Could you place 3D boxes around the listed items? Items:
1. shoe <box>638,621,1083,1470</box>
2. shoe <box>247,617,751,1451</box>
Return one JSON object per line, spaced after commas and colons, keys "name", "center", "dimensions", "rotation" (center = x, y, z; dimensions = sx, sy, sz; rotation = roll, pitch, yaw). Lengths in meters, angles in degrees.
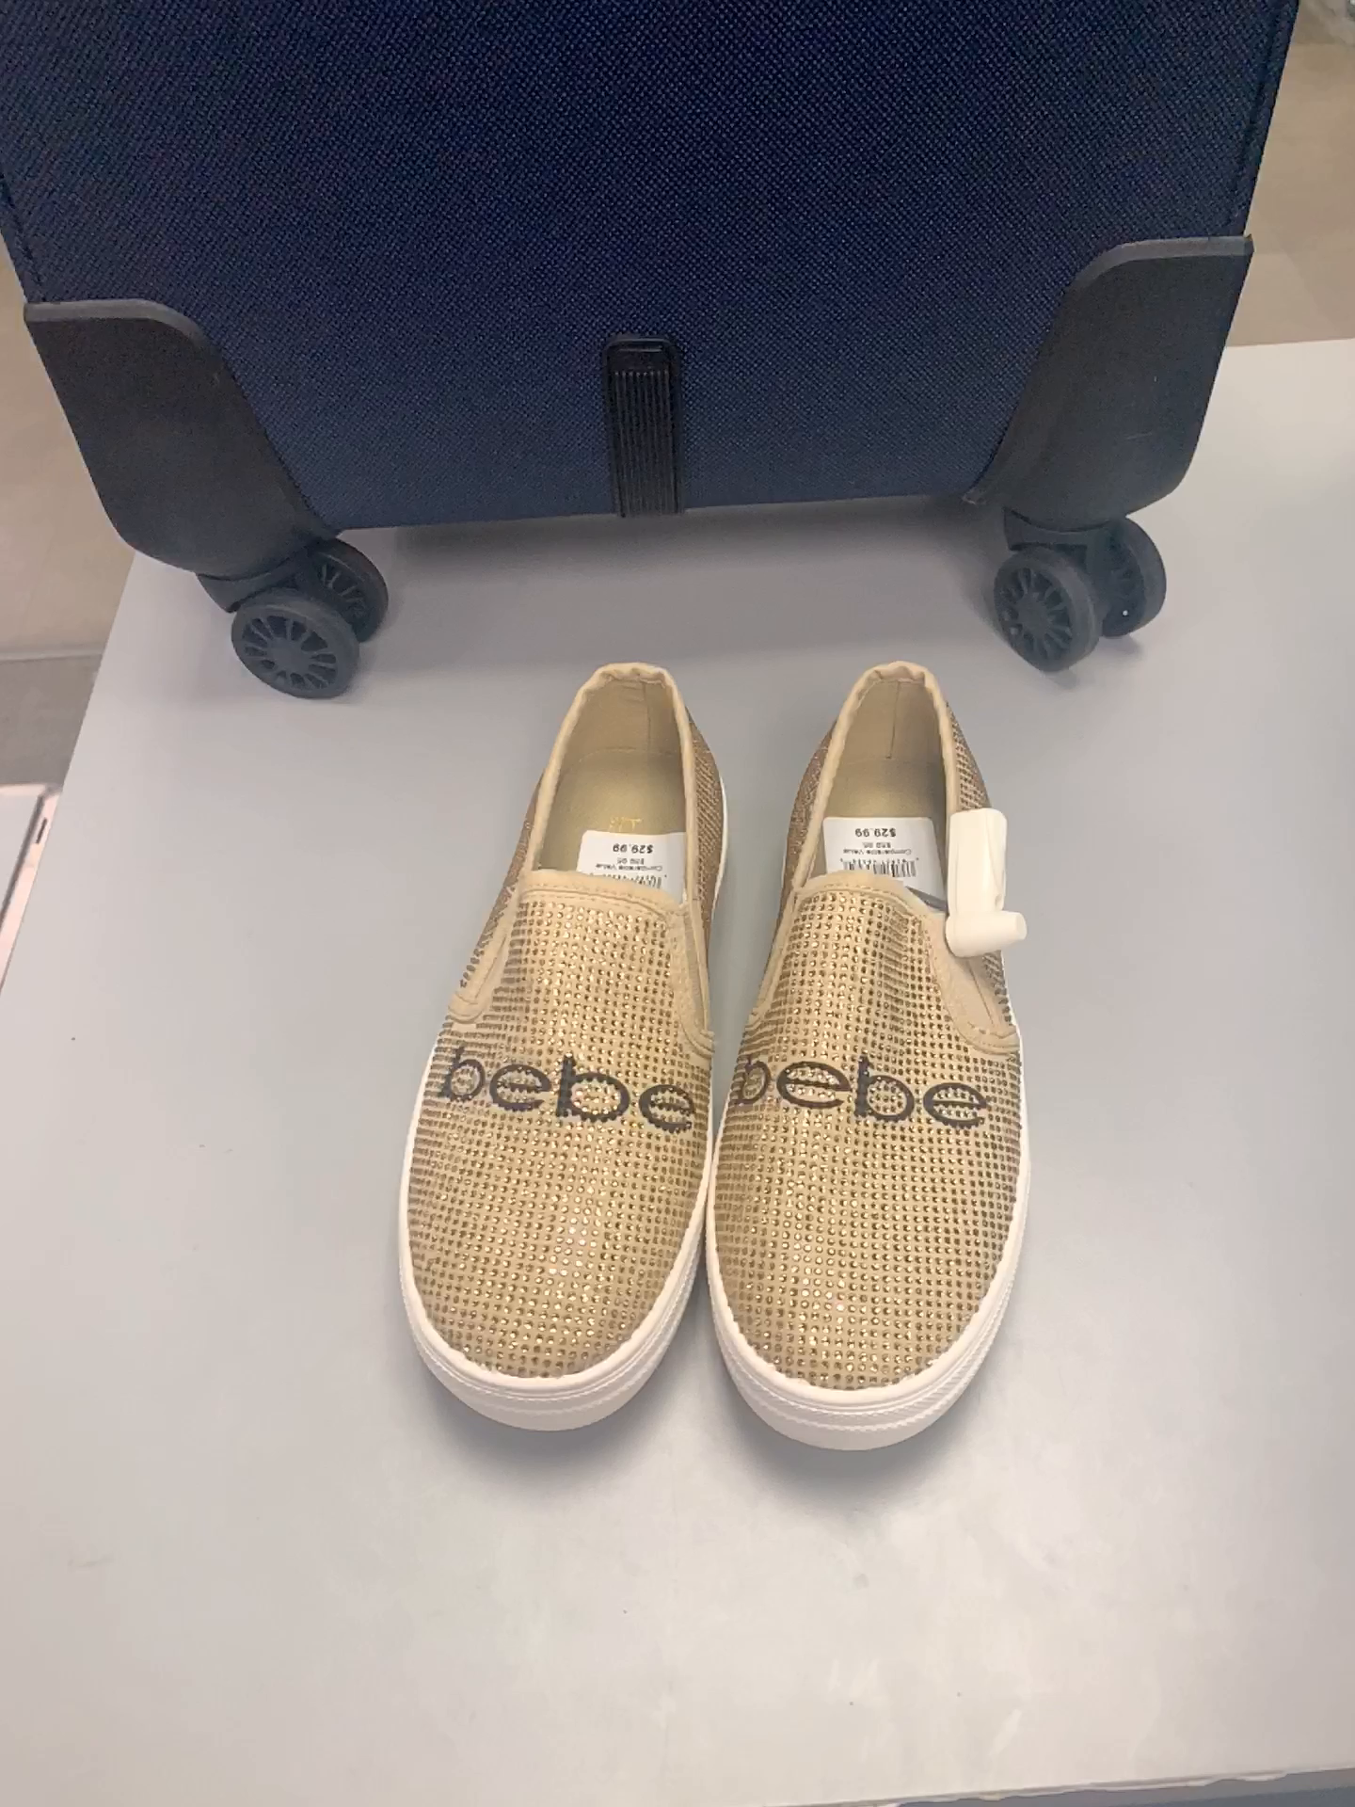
{"name": "shoe", "center": [0.052, 0.029, 0.394], "dimensions": [0.093, 0.086, 0.223], "rotation": [3, 53, 6]}
{"name": "shoe", "center": [-0.034, 0.026, 0.400], "dimensions": [0.093, 0.086, 0.223], "rotation": [3, 53, 6]}
